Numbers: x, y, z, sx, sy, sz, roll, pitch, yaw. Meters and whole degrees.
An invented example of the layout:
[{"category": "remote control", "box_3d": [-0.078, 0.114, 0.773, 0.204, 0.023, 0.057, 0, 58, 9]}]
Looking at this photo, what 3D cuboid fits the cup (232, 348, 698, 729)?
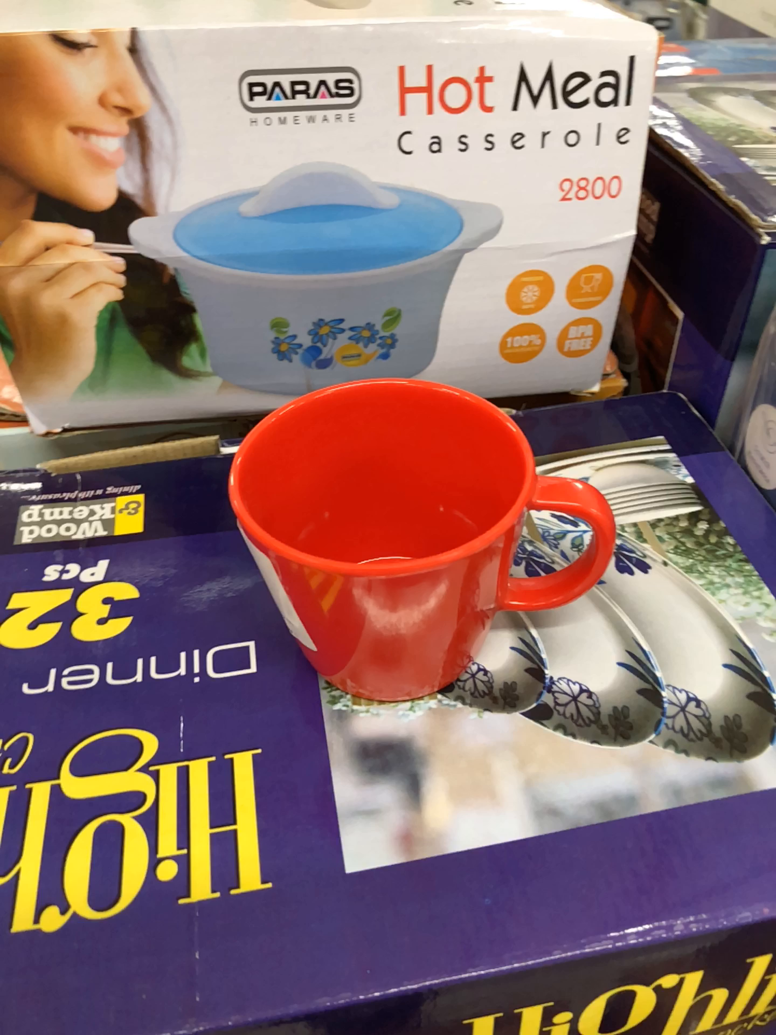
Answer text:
[{"category": "cup", "box_3d": [0.013, 0.001, 0.232, 0.100, 0.050, 0.080, -7, 42, -7]}]
